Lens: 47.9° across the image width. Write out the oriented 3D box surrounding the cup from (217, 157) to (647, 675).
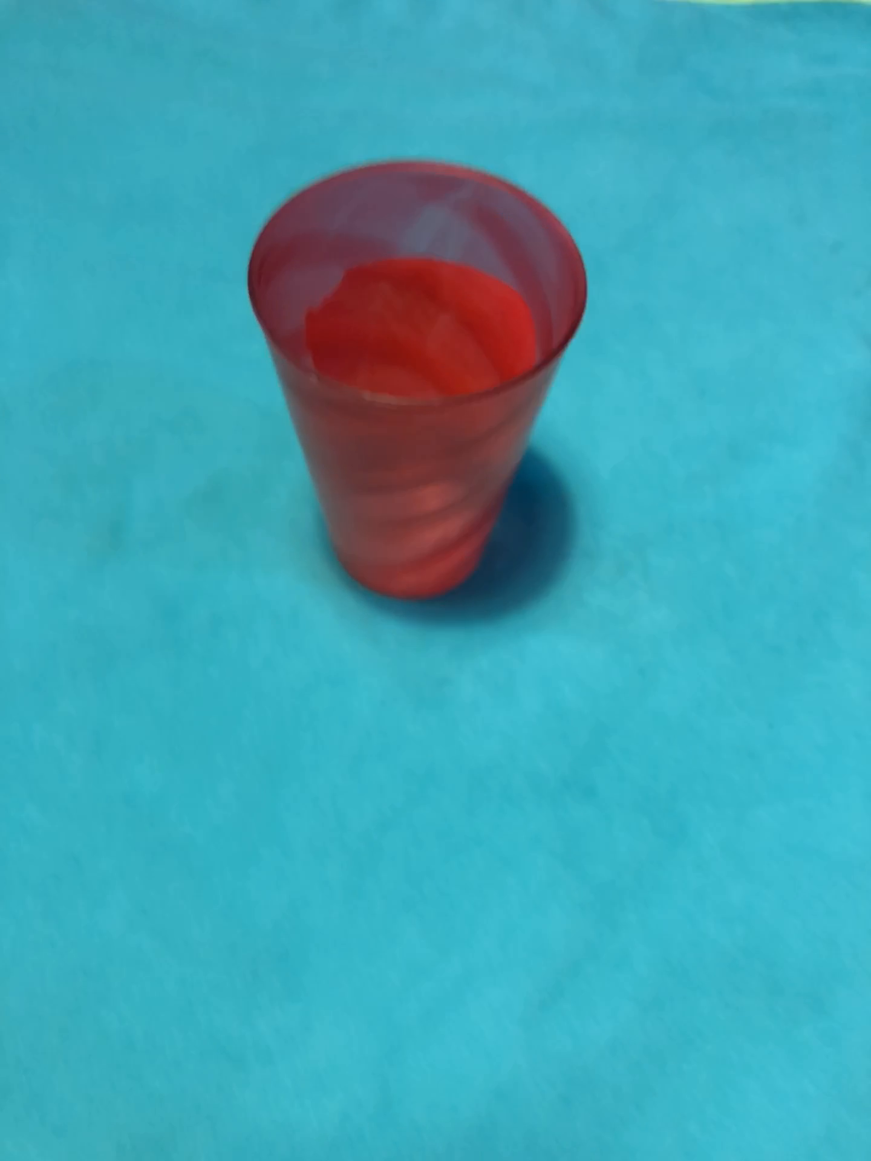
[{"bbox_3d":[-0.002,-0.039,0.275,0.090,0.110,0.090,1,60,-3],"label":"cup"}]
